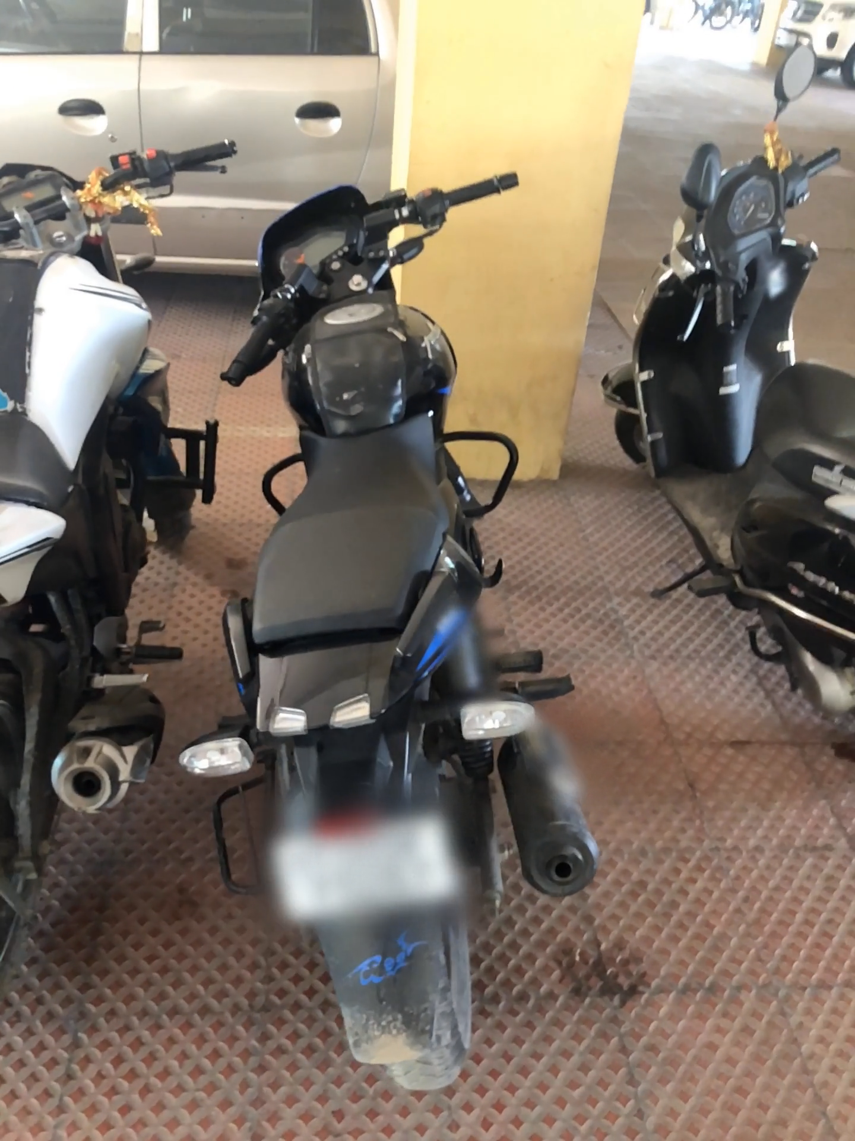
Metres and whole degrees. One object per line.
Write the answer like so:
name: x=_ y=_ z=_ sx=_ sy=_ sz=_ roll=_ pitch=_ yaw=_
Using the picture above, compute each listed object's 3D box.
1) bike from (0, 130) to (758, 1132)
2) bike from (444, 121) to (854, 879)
bike: x=-0.279 y=-0.131 z=1.797 sx=0.745 sy=0.988 sz=1.853 roll=0 pitch=33 yaw=-9
bike: x=0.695 y=-0.343 z=2.439 sx=0.713 sy=1.222 sz=1.721 roll=-6 pitch=35 yaw=-16
